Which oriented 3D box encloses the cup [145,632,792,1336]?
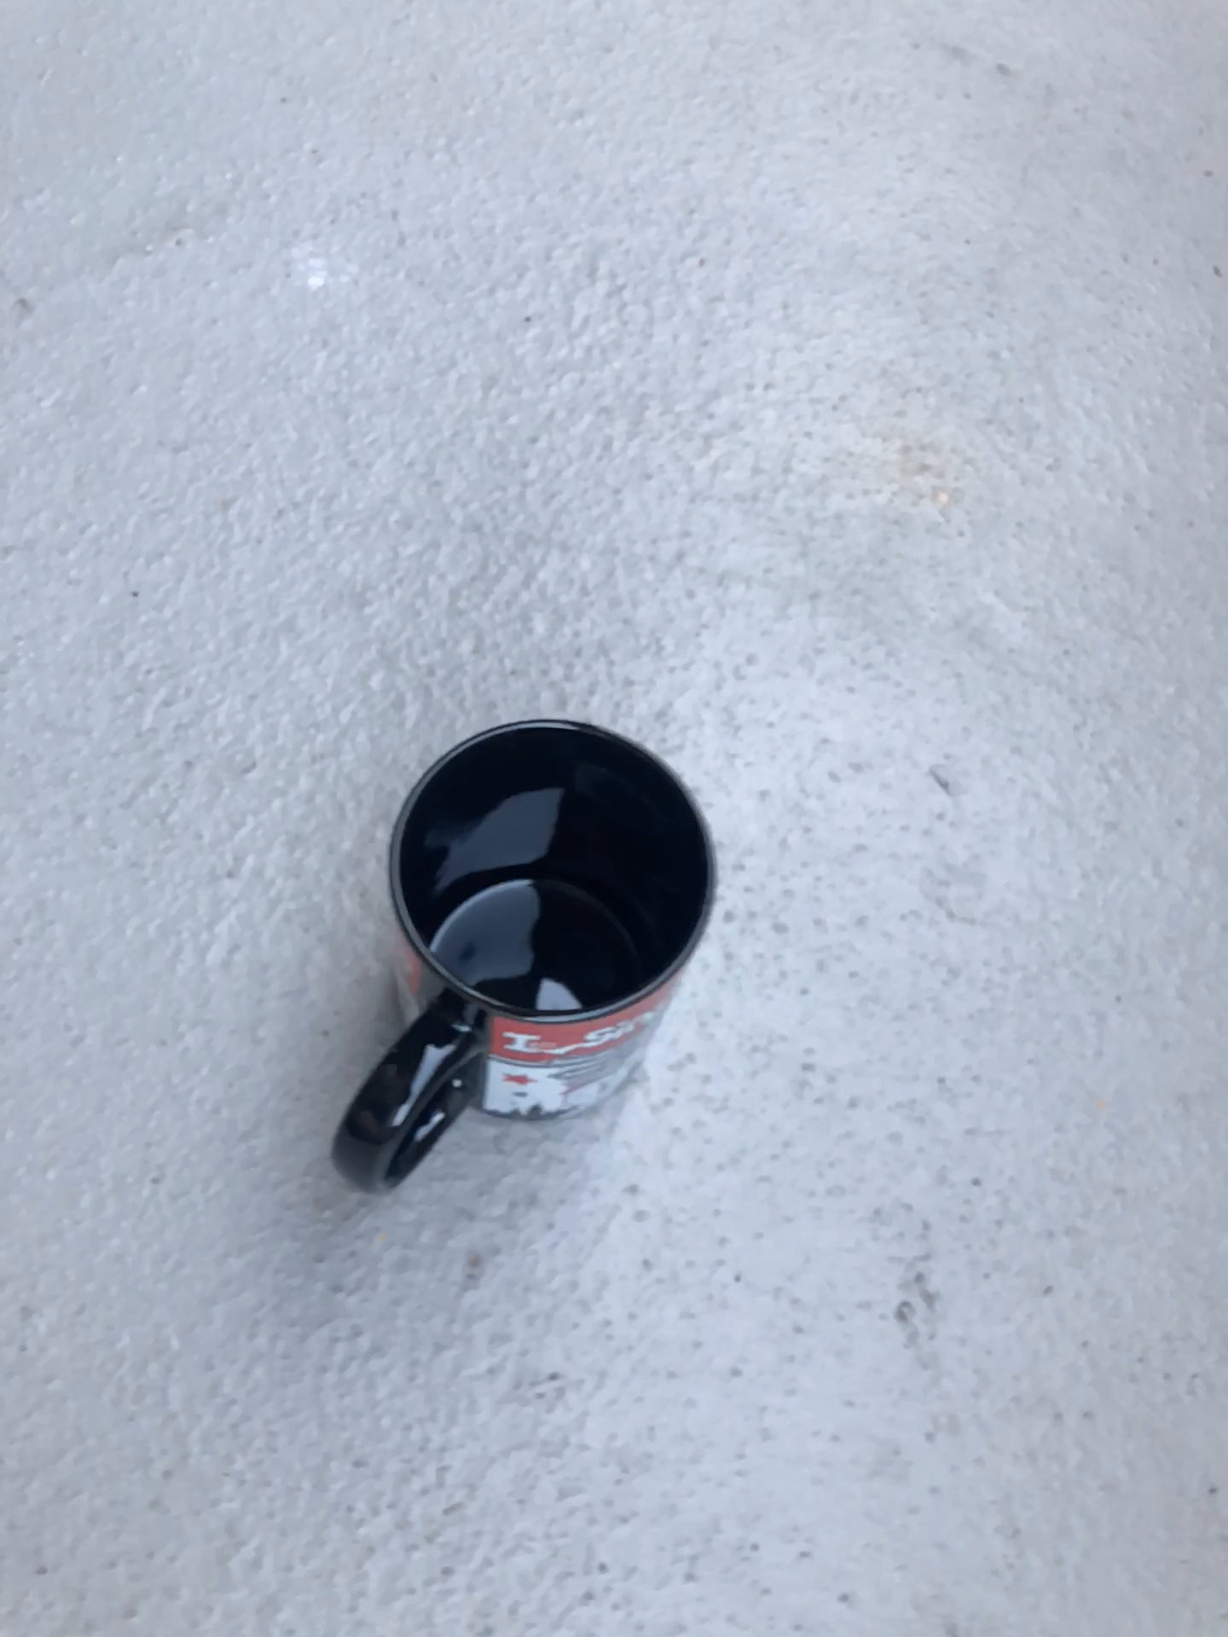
[{"bbox_3d":[-0.034,0.046,0.355,0.080,0.110,0.130,35,64,11],"label":"cup"}]
